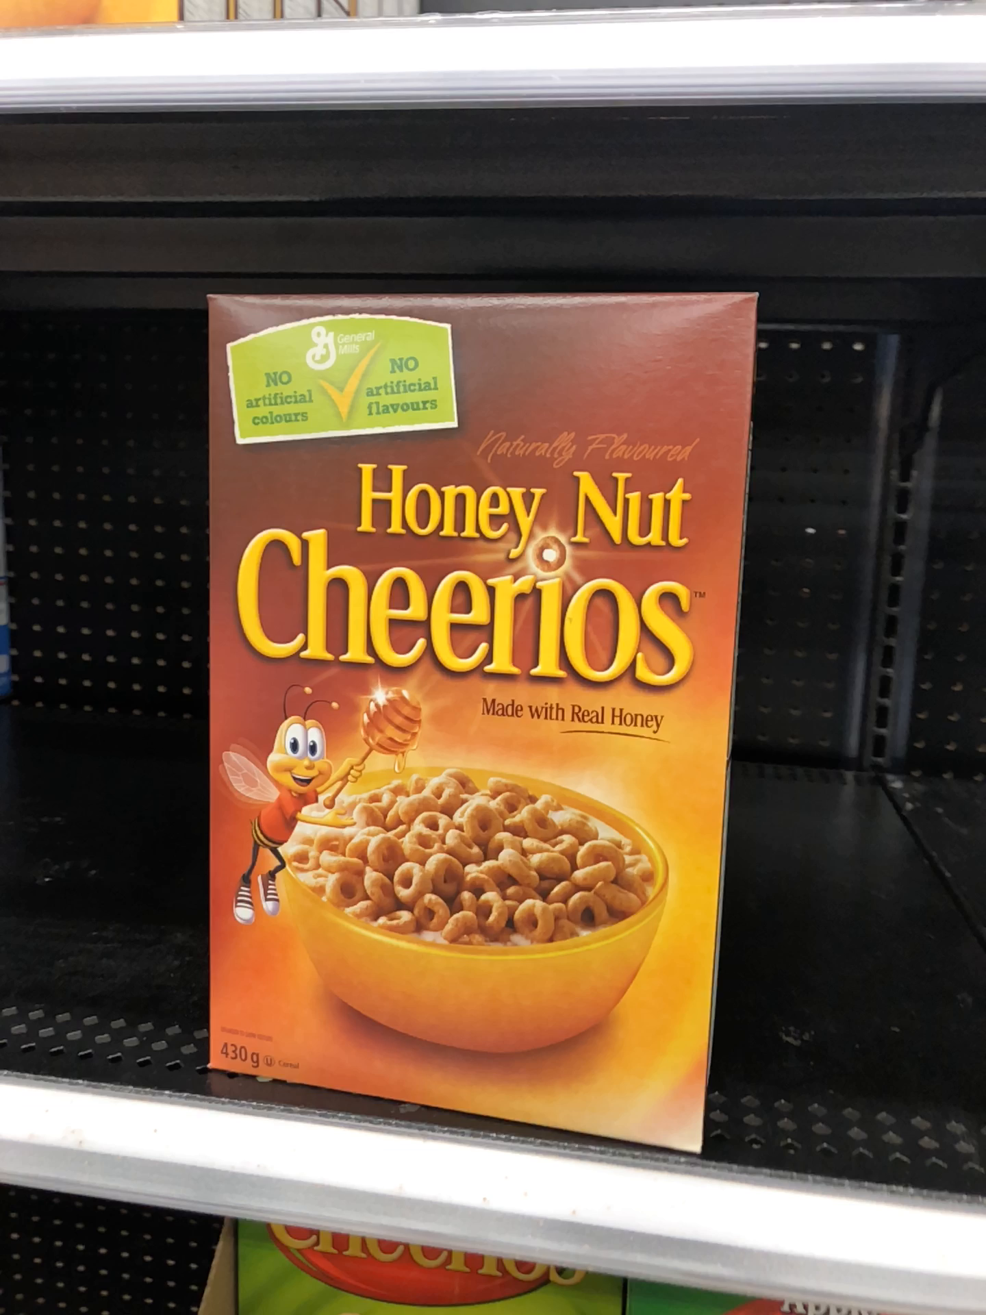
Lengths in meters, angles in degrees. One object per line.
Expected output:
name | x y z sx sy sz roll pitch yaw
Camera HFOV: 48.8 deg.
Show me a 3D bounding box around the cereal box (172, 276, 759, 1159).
cereal box | -0.011 0.017 0.416 0.200 0.299 0.070 4 10 13
